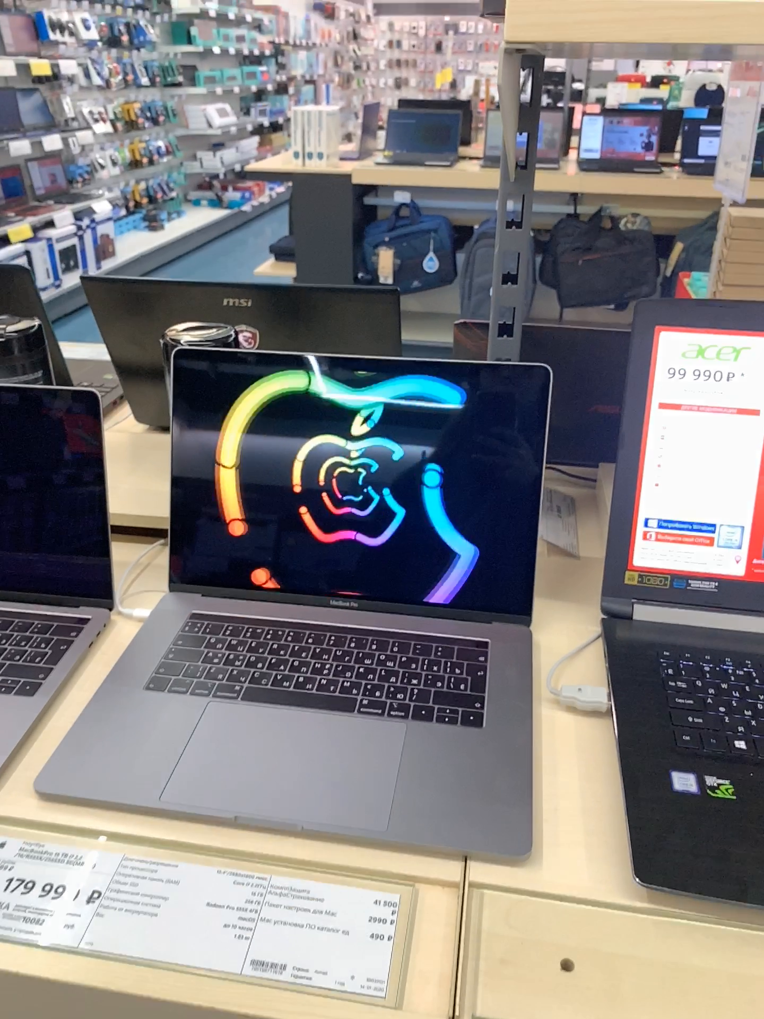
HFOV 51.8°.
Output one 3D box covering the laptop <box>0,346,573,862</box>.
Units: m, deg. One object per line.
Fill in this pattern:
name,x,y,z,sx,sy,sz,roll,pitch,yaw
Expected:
laptop,-0.048,0.036,0.611,0.345,0.210,0.326,5,30,8
